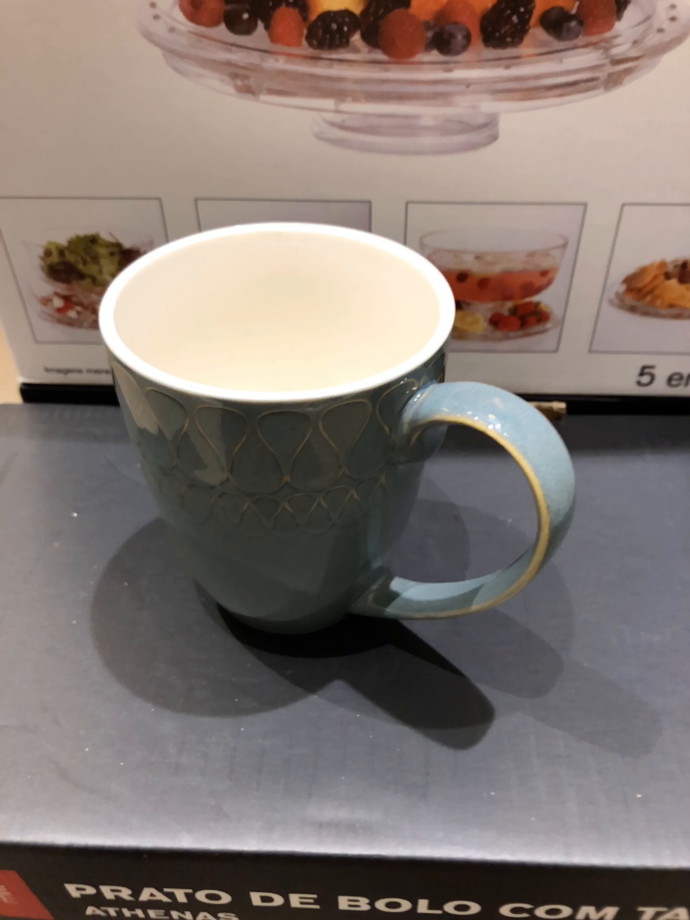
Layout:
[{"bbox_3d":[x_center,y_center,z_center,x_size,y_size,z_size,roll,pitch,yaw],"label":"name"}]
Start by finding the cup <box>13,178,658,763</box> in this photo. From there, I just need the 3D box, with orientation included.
[{"bbox_3d":[0.001,-0.004,0.223,0.130,0.099,0.091,18,46,20],"label":"cup"}]
